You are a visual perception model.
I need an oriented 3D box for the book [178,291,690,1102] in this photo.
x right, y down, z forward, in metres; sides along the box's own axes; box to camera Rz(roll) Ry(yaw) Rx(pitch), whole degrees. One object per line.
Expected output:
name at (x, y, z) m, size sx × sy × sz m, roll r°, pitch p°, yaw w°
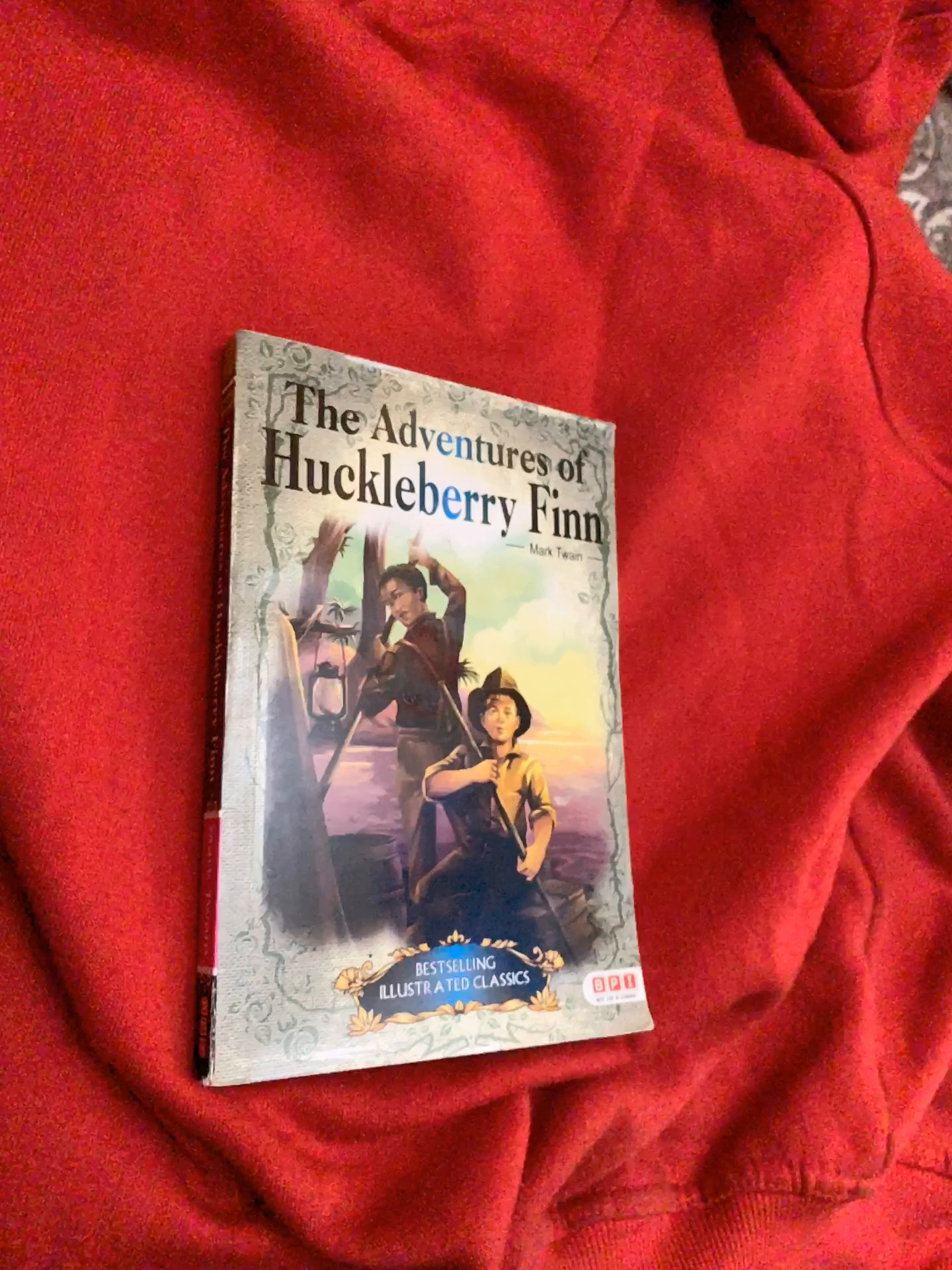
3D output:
book at (-0.006, 0.013, 0.260) m, size 0.131 × 0.020 × 0.180 m, roll 7°, pitch 74°, yaw -31°
